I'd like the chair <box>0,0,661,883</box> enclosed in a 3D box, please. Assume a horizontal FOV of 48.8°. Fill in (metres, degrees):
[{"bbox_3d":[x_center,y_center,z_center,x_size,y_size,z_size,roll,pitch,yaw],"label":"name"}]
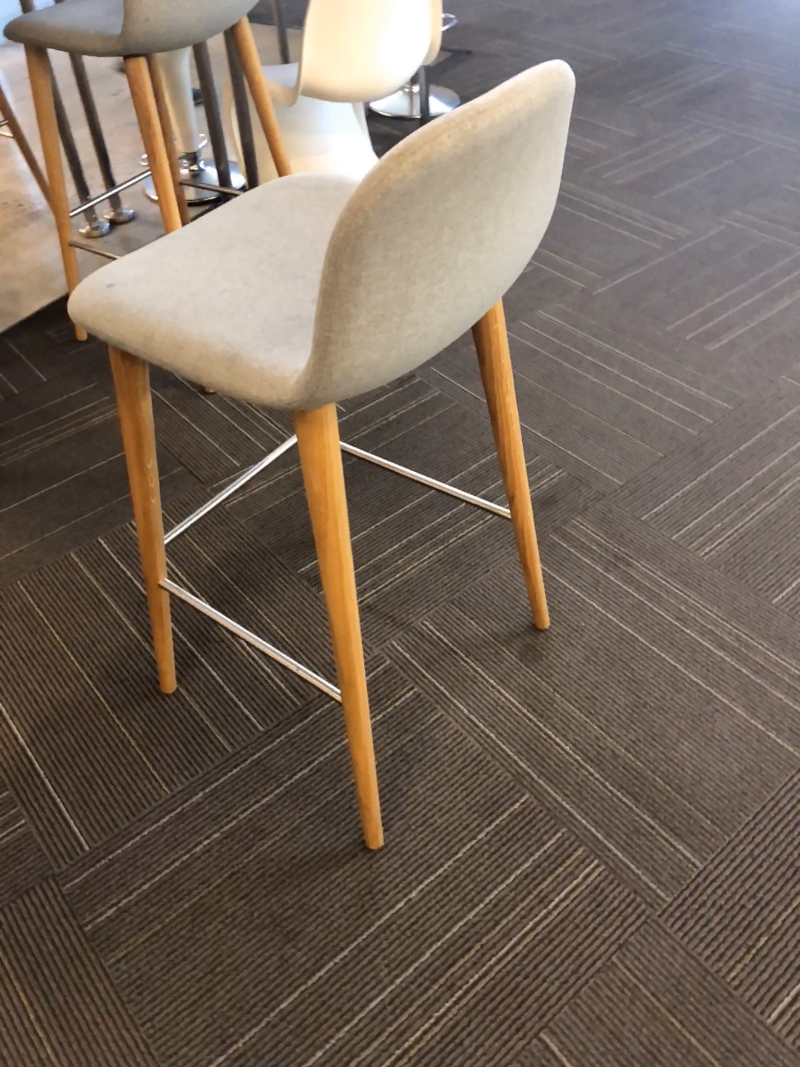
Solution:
[{"bbox_3d":[-0.109,-0.149,1.155,0.561,0.945,0.571,23,48,26],"label":"chair"}]
